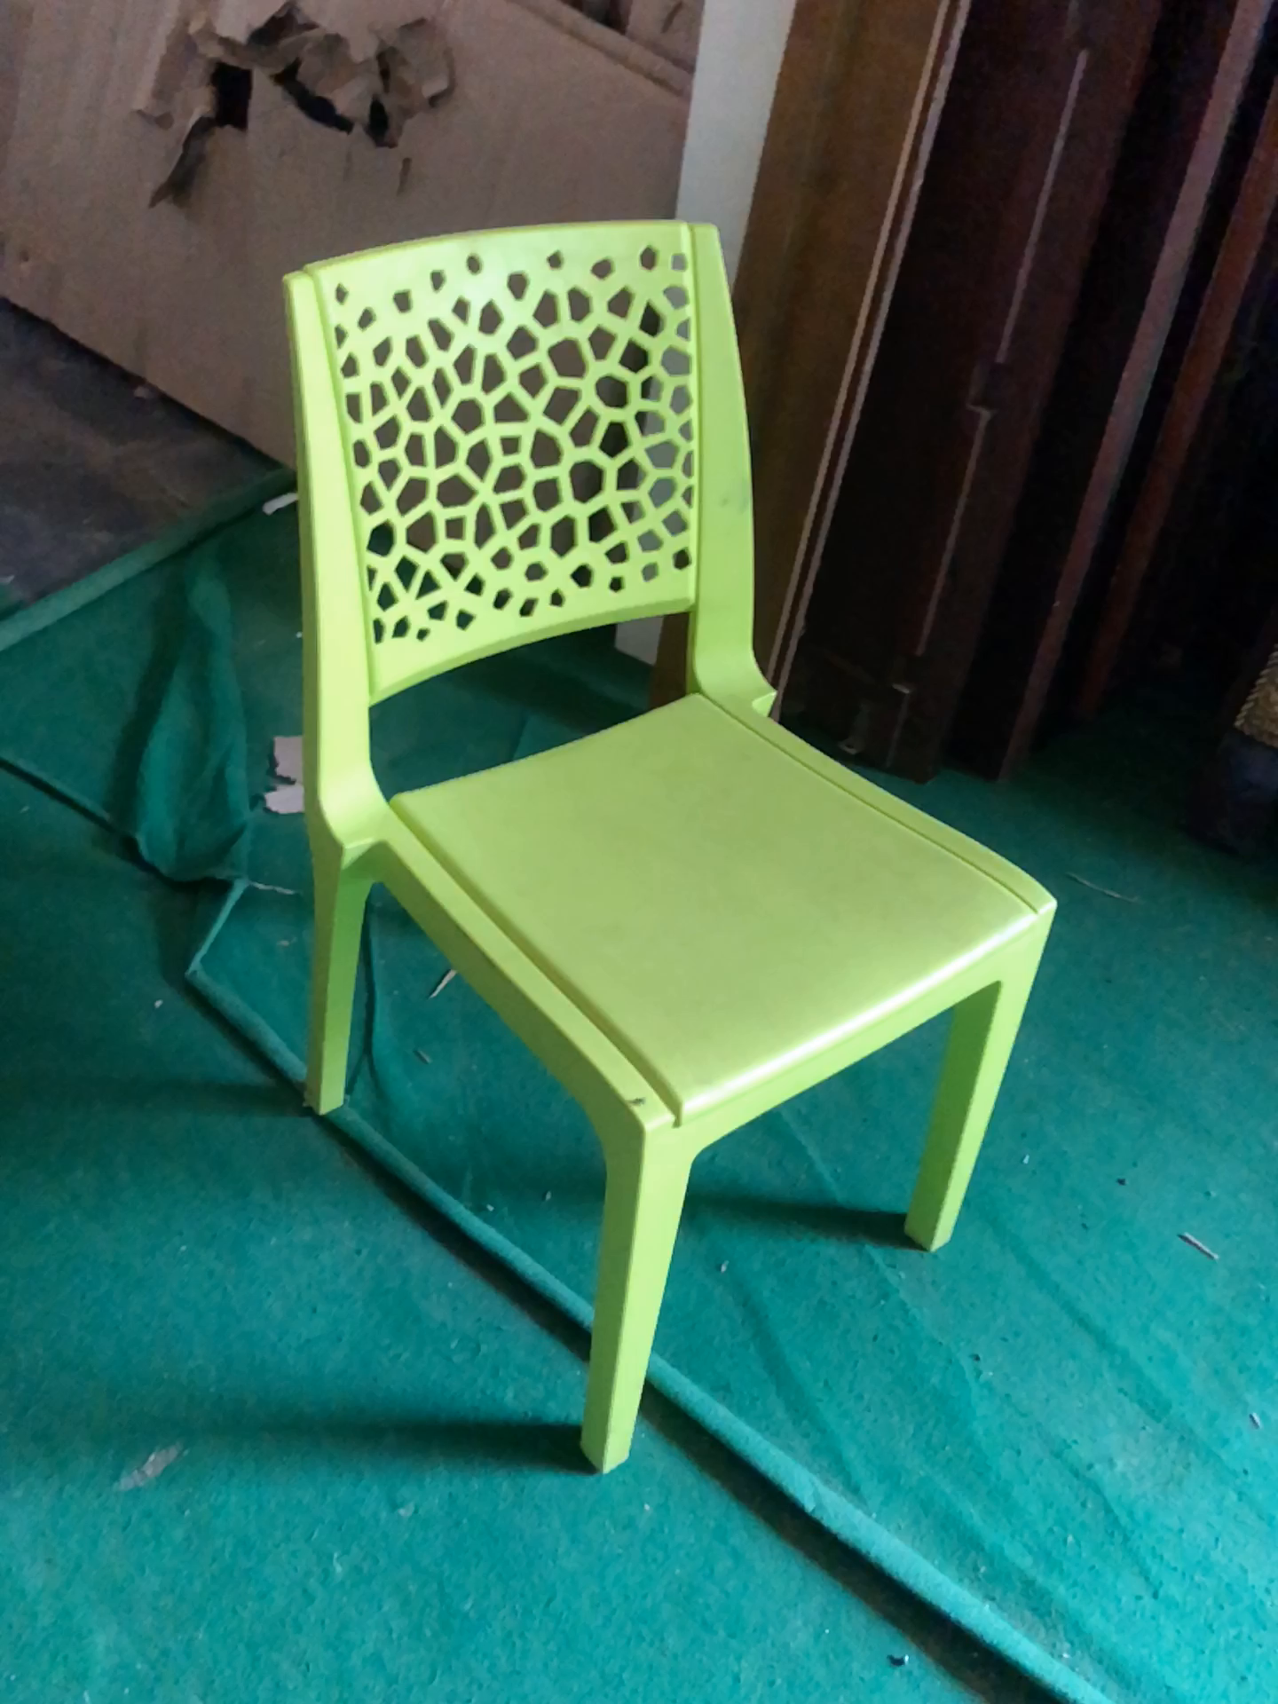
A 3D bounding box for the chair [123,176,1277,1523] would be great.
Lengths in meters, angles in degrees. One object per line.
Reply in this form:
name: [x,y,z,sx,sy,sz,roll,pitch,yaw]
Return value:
chair: [0.013,-0.040,1.170,0.532,0.776,0.641,-22,46,-29]
